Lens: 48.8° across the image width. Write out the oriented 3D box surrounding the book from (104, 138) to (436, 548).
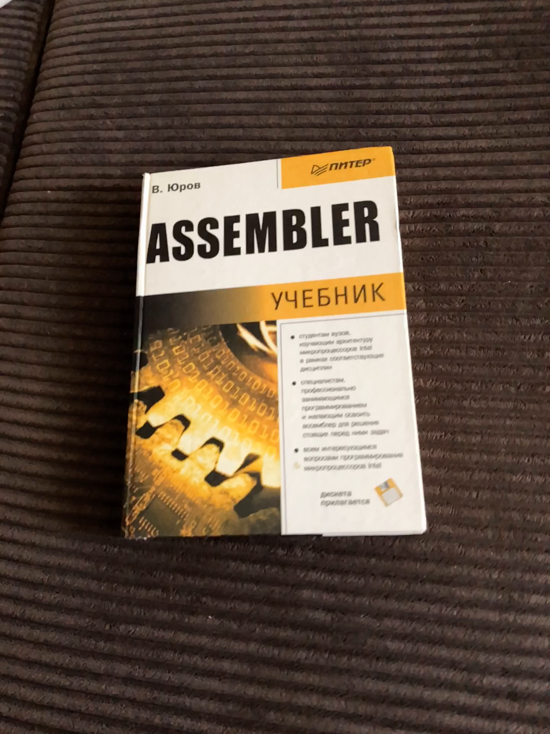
[{"bbox_3d":[-0.004,-0.015,0.374,0.170,0.058,0.237,-4,71,7],"label":"book"}]
